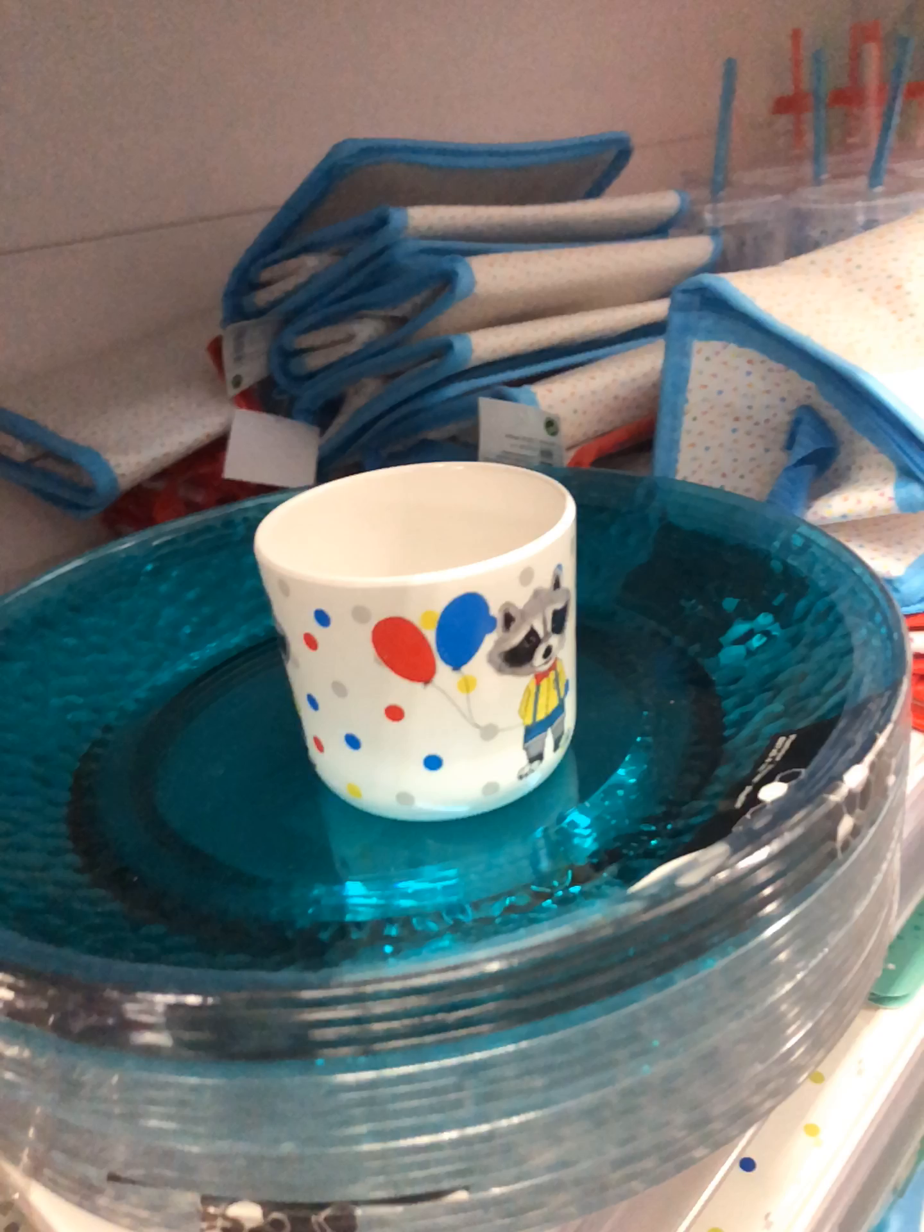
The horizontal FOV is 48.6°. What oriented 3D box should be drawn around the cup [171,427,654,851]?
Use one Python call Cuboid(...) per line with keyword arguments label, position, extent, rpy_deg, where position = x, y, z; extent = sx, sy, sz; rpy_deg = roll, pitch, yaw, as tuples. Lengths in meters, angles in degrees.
Cuboid(label="cup", position=(-0.003, -0.004, 0.265), extent=(0.080, 0.059, 0.110), rpy_deg=(5, 28, 22))
